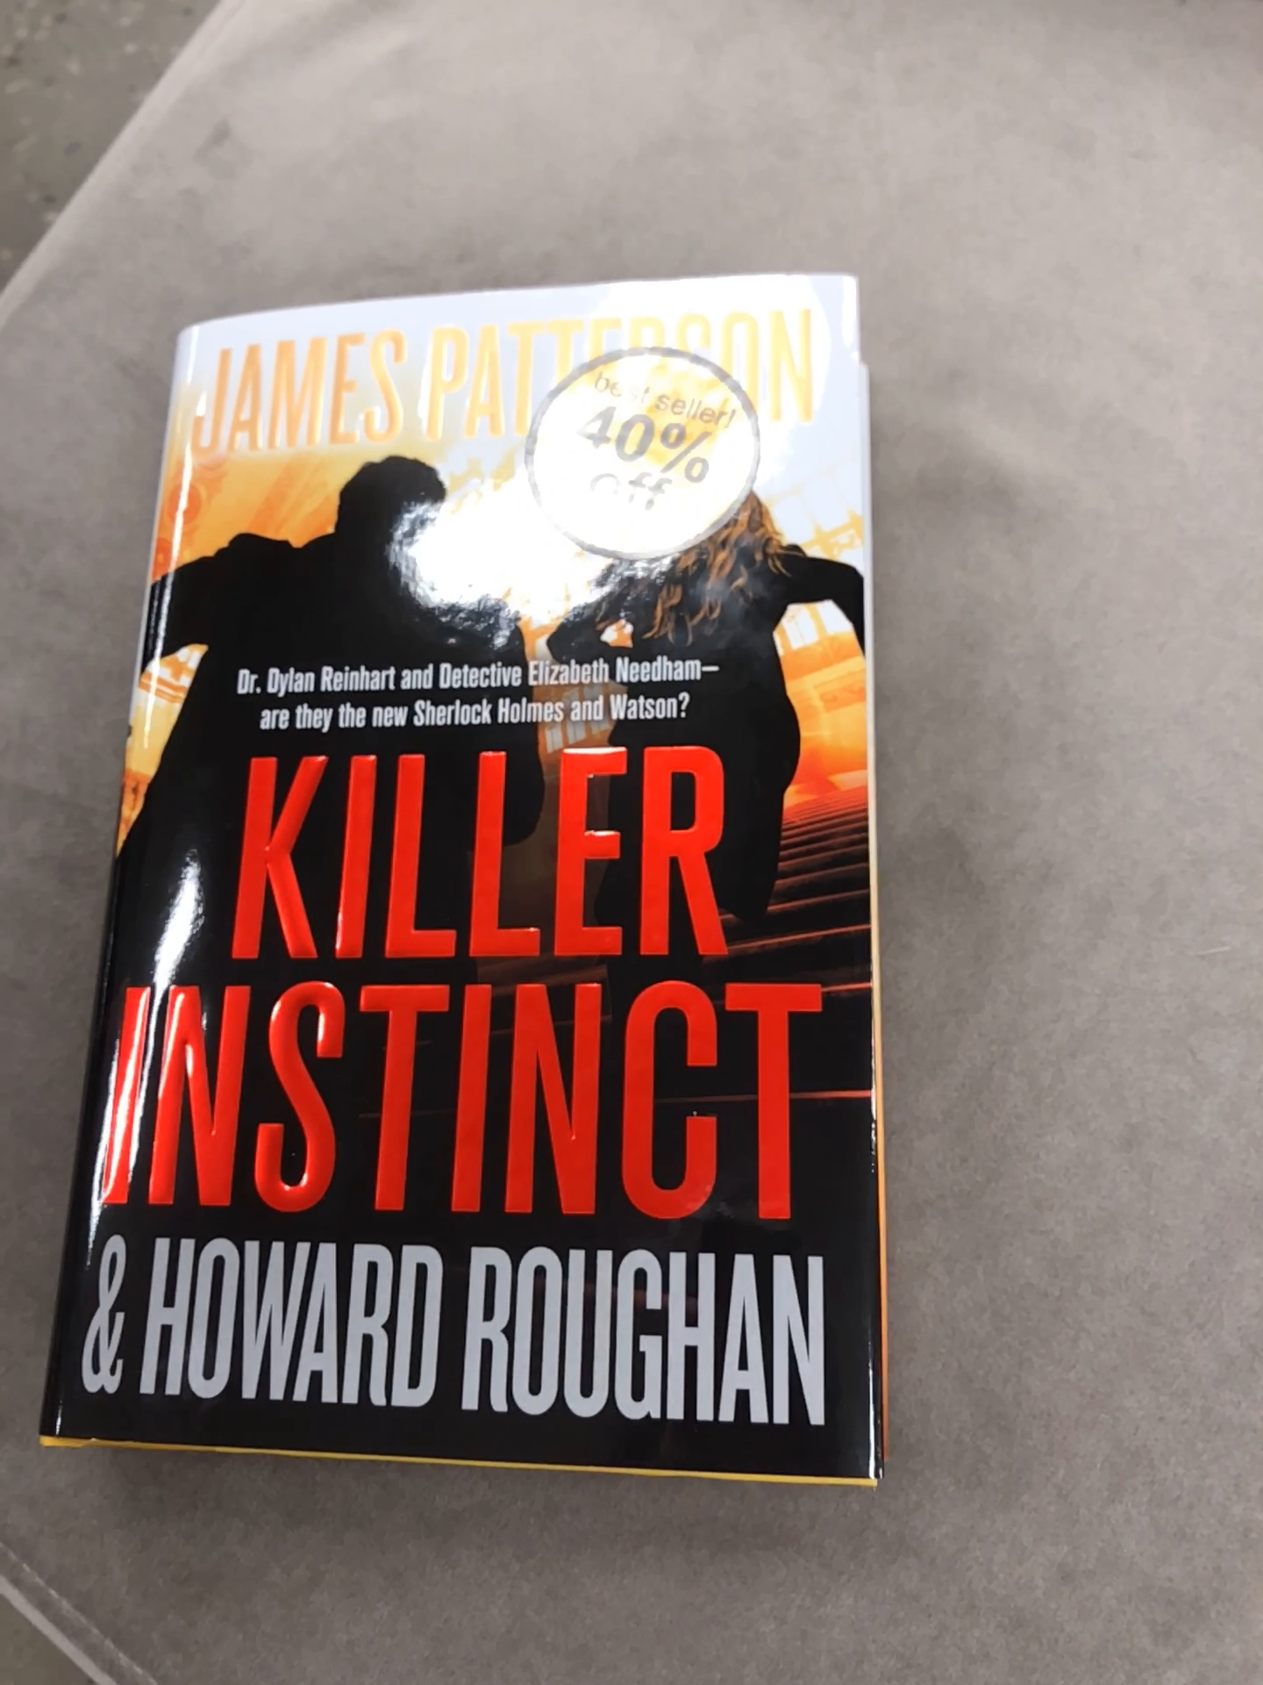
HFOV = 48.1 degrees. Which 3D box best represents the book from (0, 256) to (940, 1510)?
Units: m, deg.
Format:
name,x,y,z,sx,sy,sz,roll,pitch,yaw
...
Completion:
name,x,y,z,sx,sy,sz,roll,pitch,yaw
book,-0.028,-0.001,0.291,0.172,0.038,0.237,0,74,9
